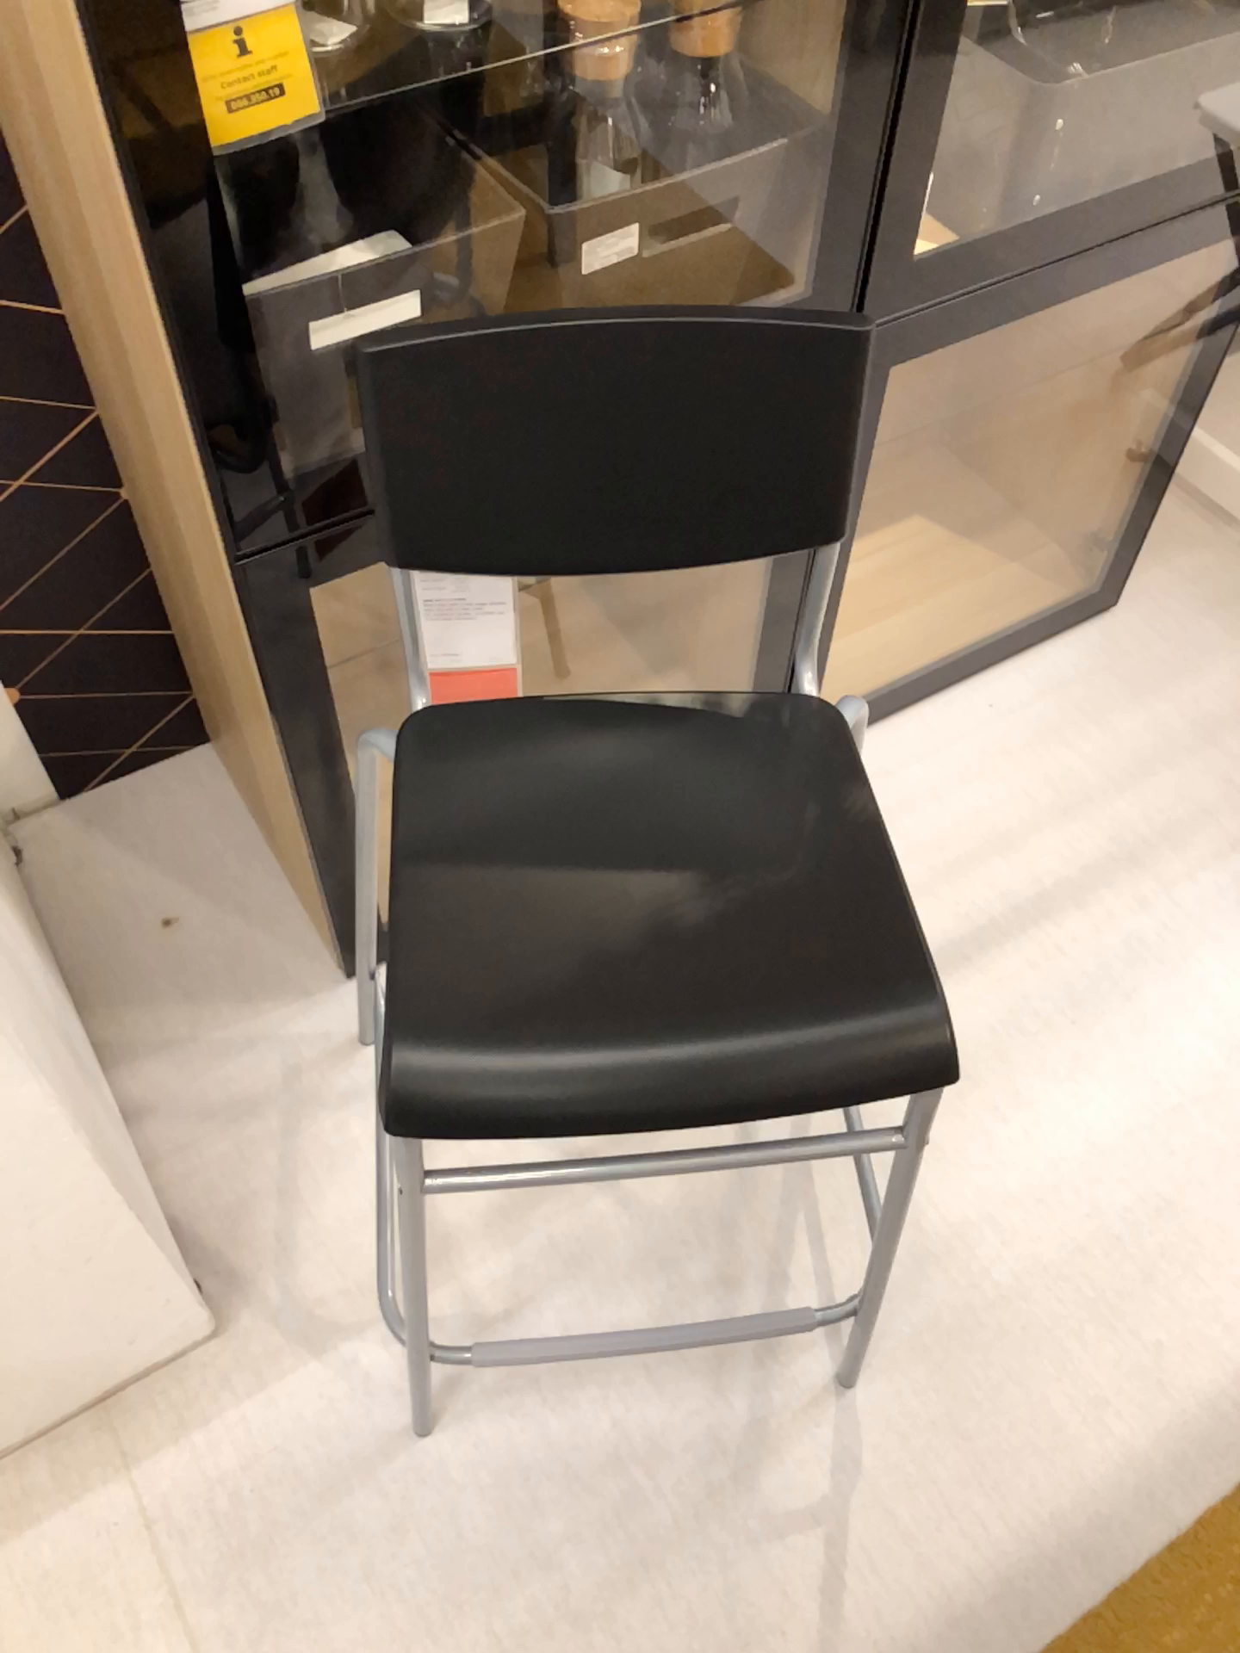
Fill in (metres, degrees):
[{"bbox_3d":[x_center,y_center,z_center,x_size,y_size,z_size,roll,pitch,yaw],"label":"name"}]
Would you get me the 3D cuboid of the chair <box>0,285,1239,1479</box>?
[{"bbox_3d":[-0.001,0.105,0.980,0.540,0.766,0.483,-3,54,-4],"label":"chair"}]
